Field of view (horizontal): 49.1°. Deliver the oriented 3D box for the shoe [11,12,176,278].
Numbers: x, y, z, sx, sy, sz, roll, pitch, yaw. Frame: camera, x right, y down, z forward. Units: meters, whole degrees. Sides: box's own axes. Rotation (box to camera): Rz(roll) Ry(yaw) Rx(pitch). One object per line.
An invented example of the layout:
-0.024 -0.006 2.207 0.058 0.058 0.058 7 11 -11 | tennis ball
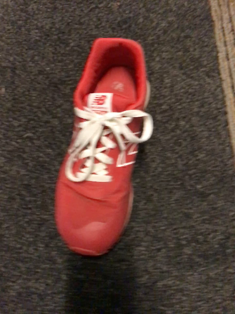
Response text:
-0.014 -0.017 0.303 0.100 0.108 0.257 13 74 3 | shoe
